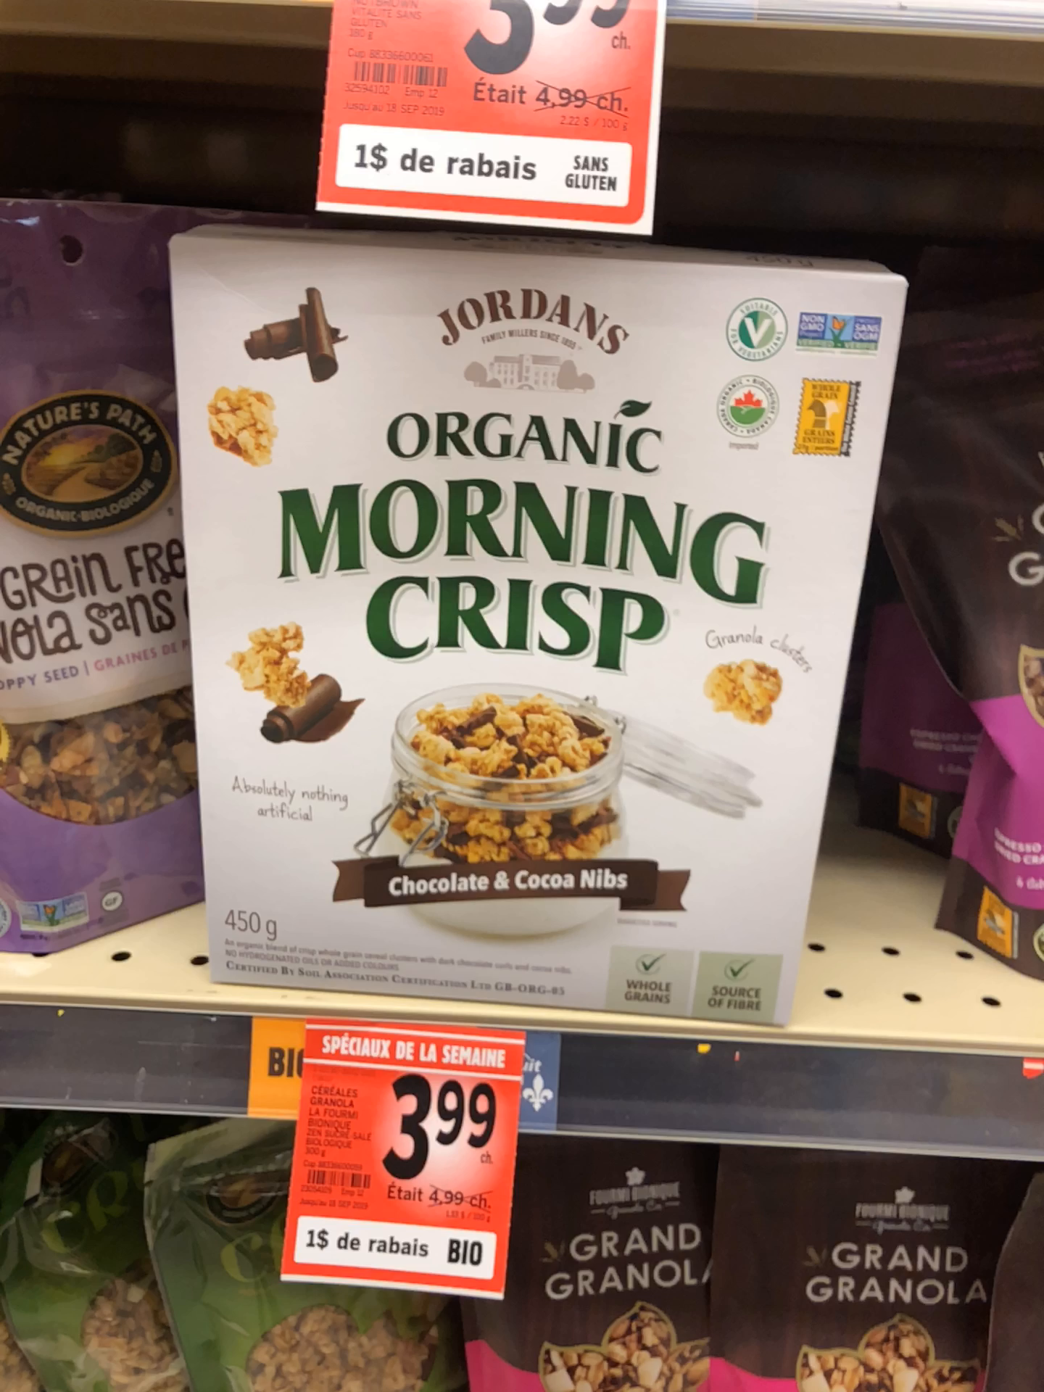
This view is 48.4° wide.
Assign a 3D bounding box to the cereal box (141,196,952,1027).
[{"bbox_3d":[0.001,-0.019,0.319,0.180,0.209,0.050,4,22,2],"label":"cereal box"}]
